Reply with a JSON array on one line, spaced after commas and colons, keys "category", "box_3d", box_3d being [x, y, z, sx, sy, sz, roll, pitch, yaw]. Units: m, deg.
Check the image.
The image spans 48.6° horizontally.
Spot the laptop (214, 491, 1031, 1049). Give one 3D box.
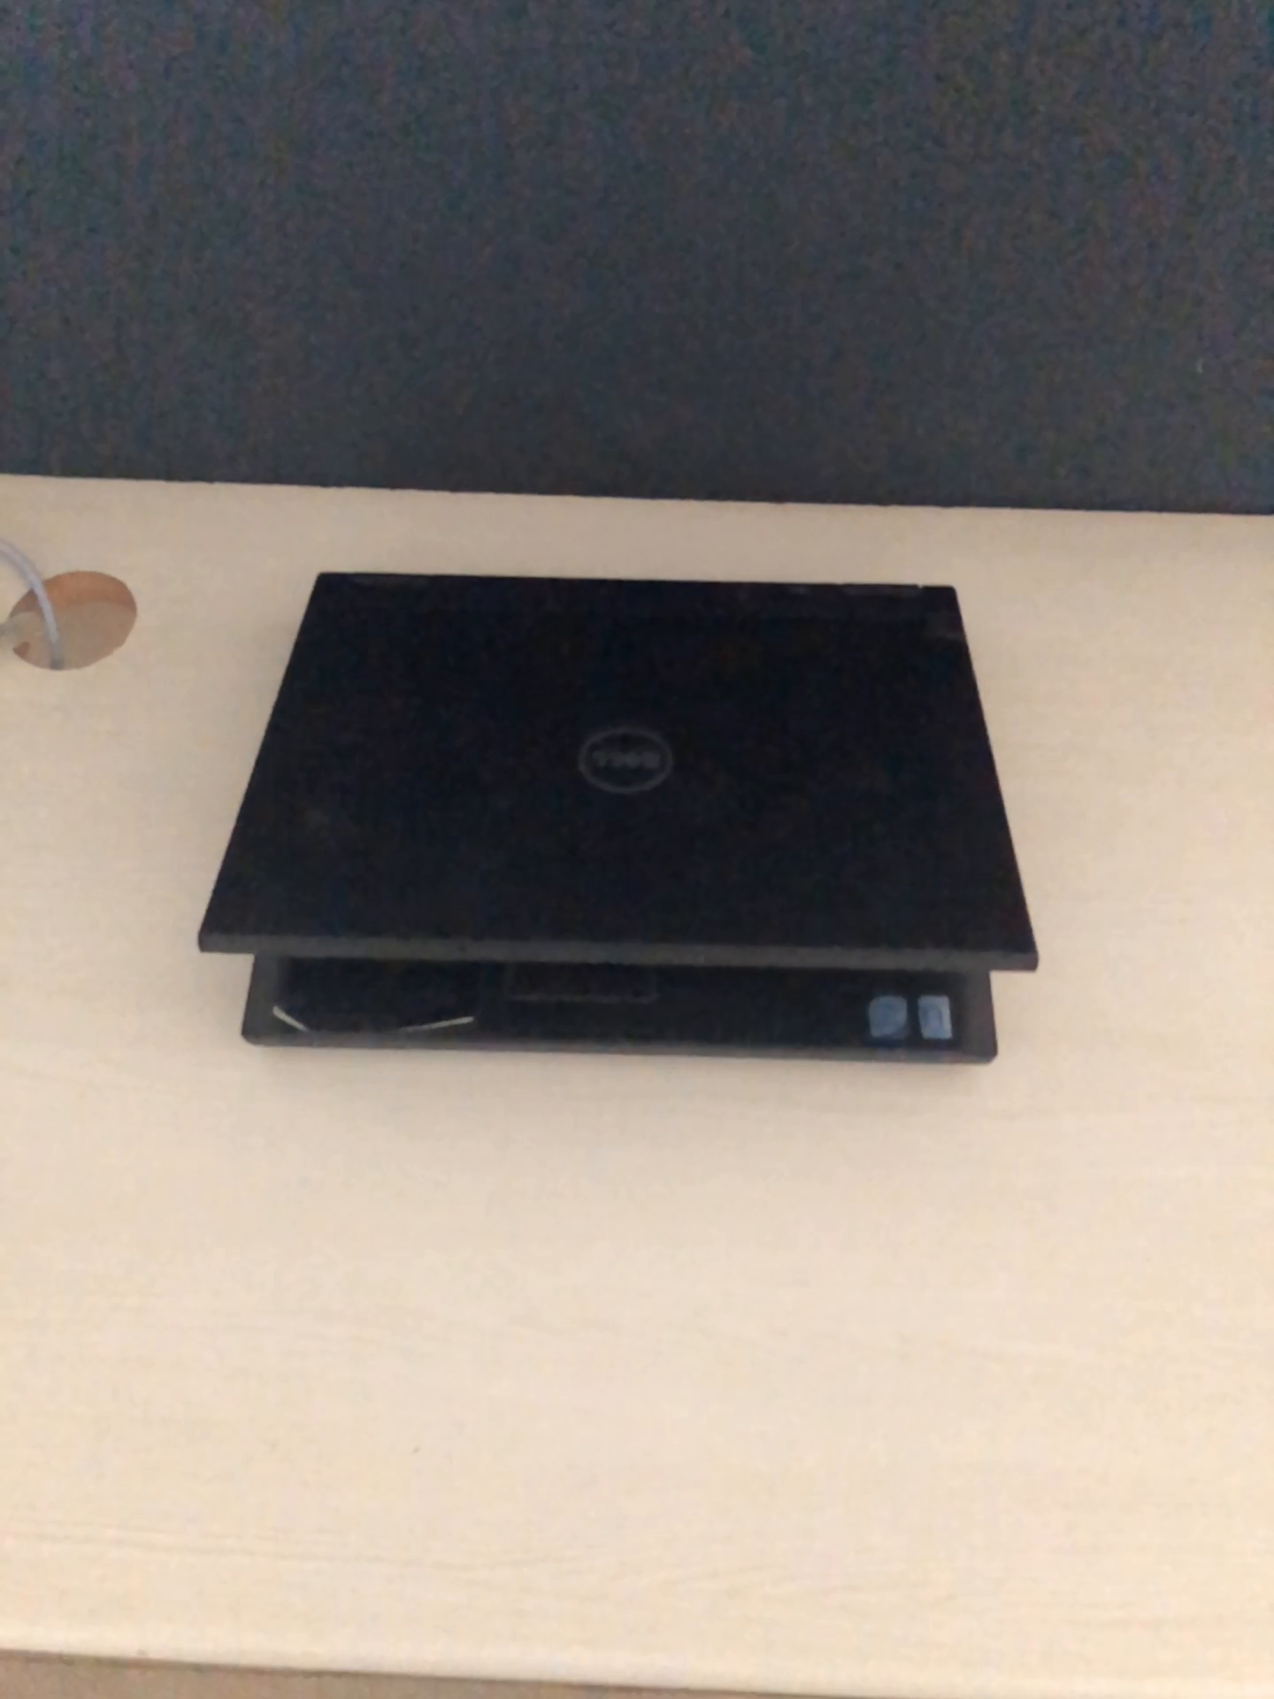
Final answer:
[{"category": "laptop", "box_3d": [-0.001, -0.040, 0.603, 0.302, 0.065, 0.231, 1, 62, 1]}]
